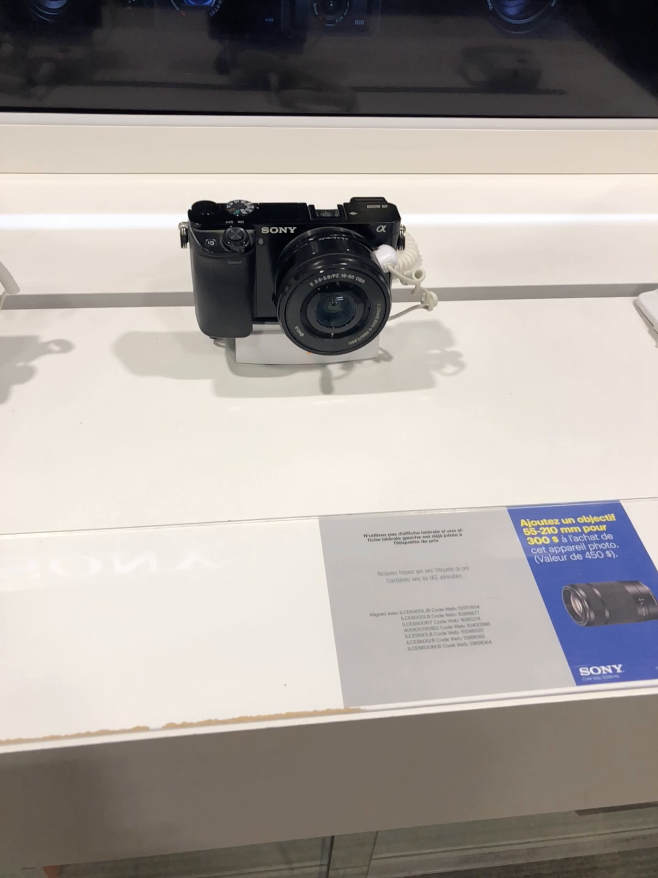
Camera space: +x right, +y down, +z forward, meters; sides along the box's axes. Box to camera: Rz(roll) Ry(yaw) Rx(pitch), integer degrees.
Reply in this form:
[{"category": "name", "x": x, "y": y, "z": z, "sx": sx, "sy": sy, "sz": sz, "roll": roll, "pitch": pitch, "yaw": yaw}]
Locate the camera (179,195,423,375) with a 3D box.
[{"category": "camera", "x": -0.019, "y": -0.092, "z": 0.435, "sx": 0.130, "sy": 0.077, "sz": 0.065, "roll": -4, "pitch": 43, "yaw": -7}]
